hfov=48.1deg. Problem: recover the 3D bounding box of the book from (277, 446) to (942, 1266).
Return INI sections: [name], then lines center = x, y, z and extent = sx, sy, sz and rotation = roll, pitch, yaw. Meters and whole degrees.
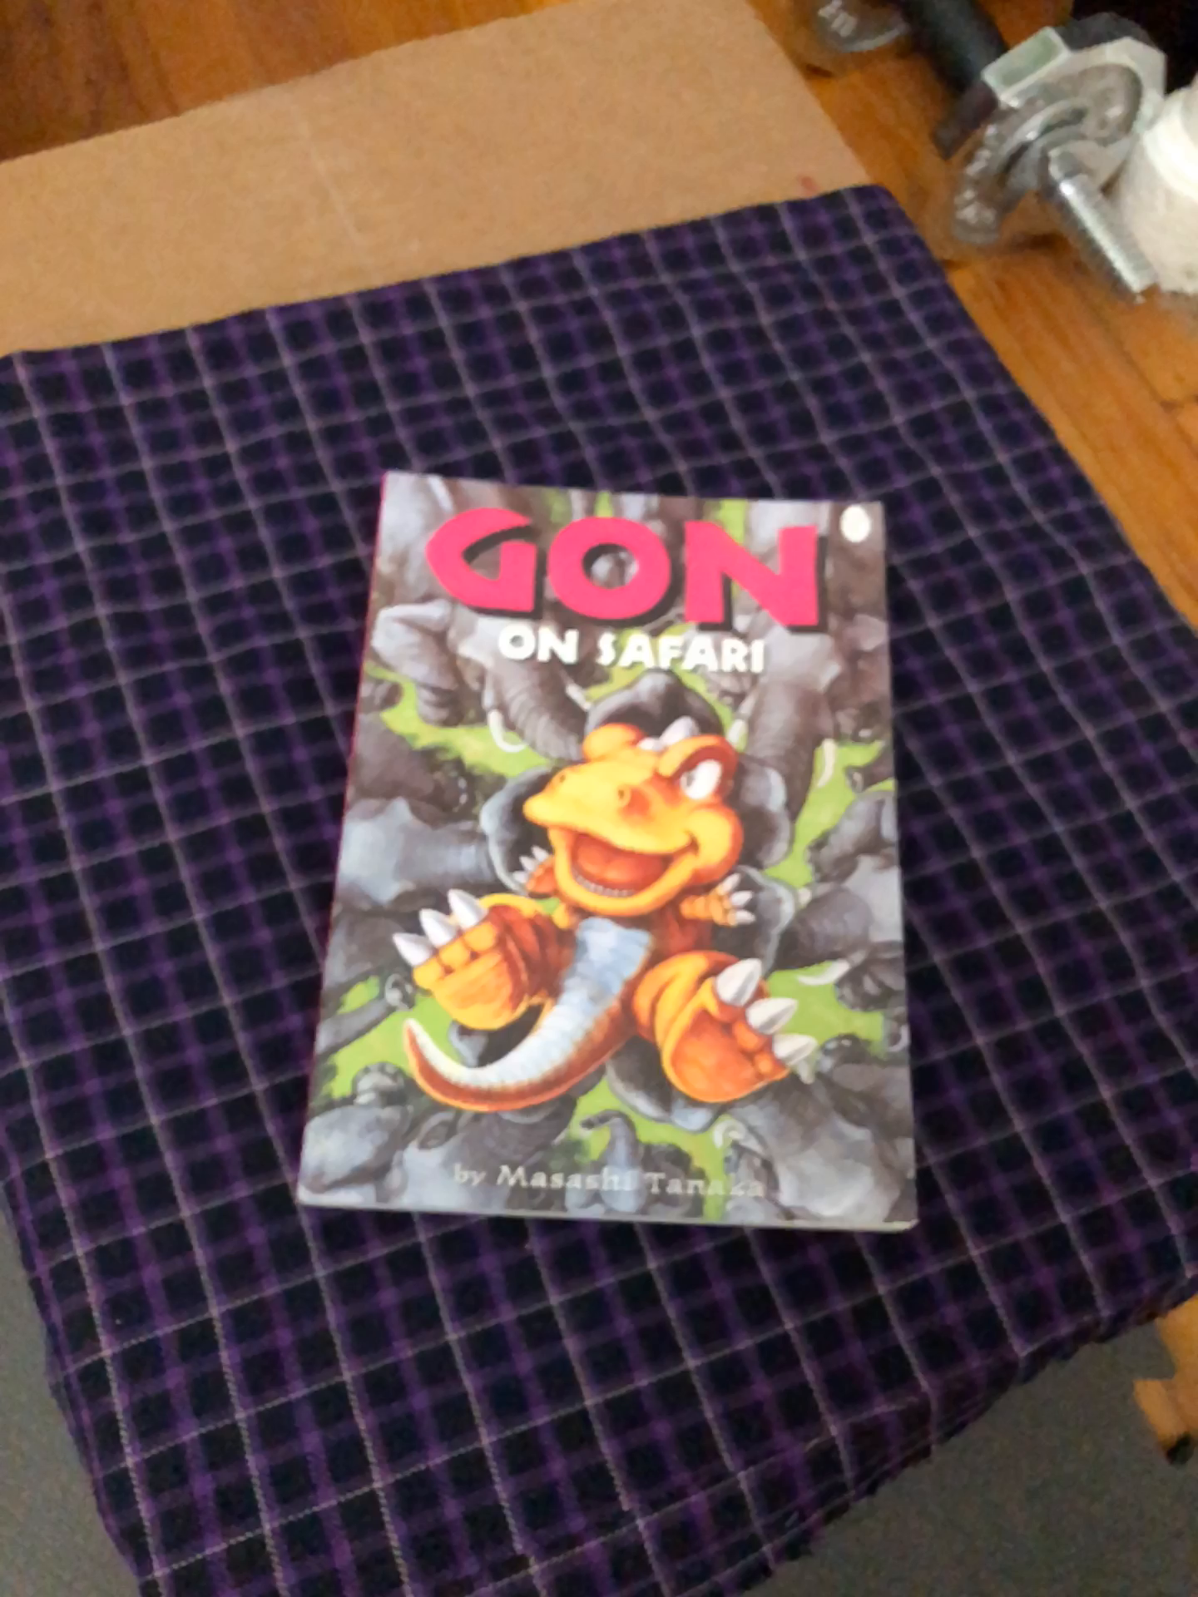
[book]
center = 0.008, 0.007, 0.351
extent = 0.150, 0.020, 0.211
rotation = 4, 67, -3
